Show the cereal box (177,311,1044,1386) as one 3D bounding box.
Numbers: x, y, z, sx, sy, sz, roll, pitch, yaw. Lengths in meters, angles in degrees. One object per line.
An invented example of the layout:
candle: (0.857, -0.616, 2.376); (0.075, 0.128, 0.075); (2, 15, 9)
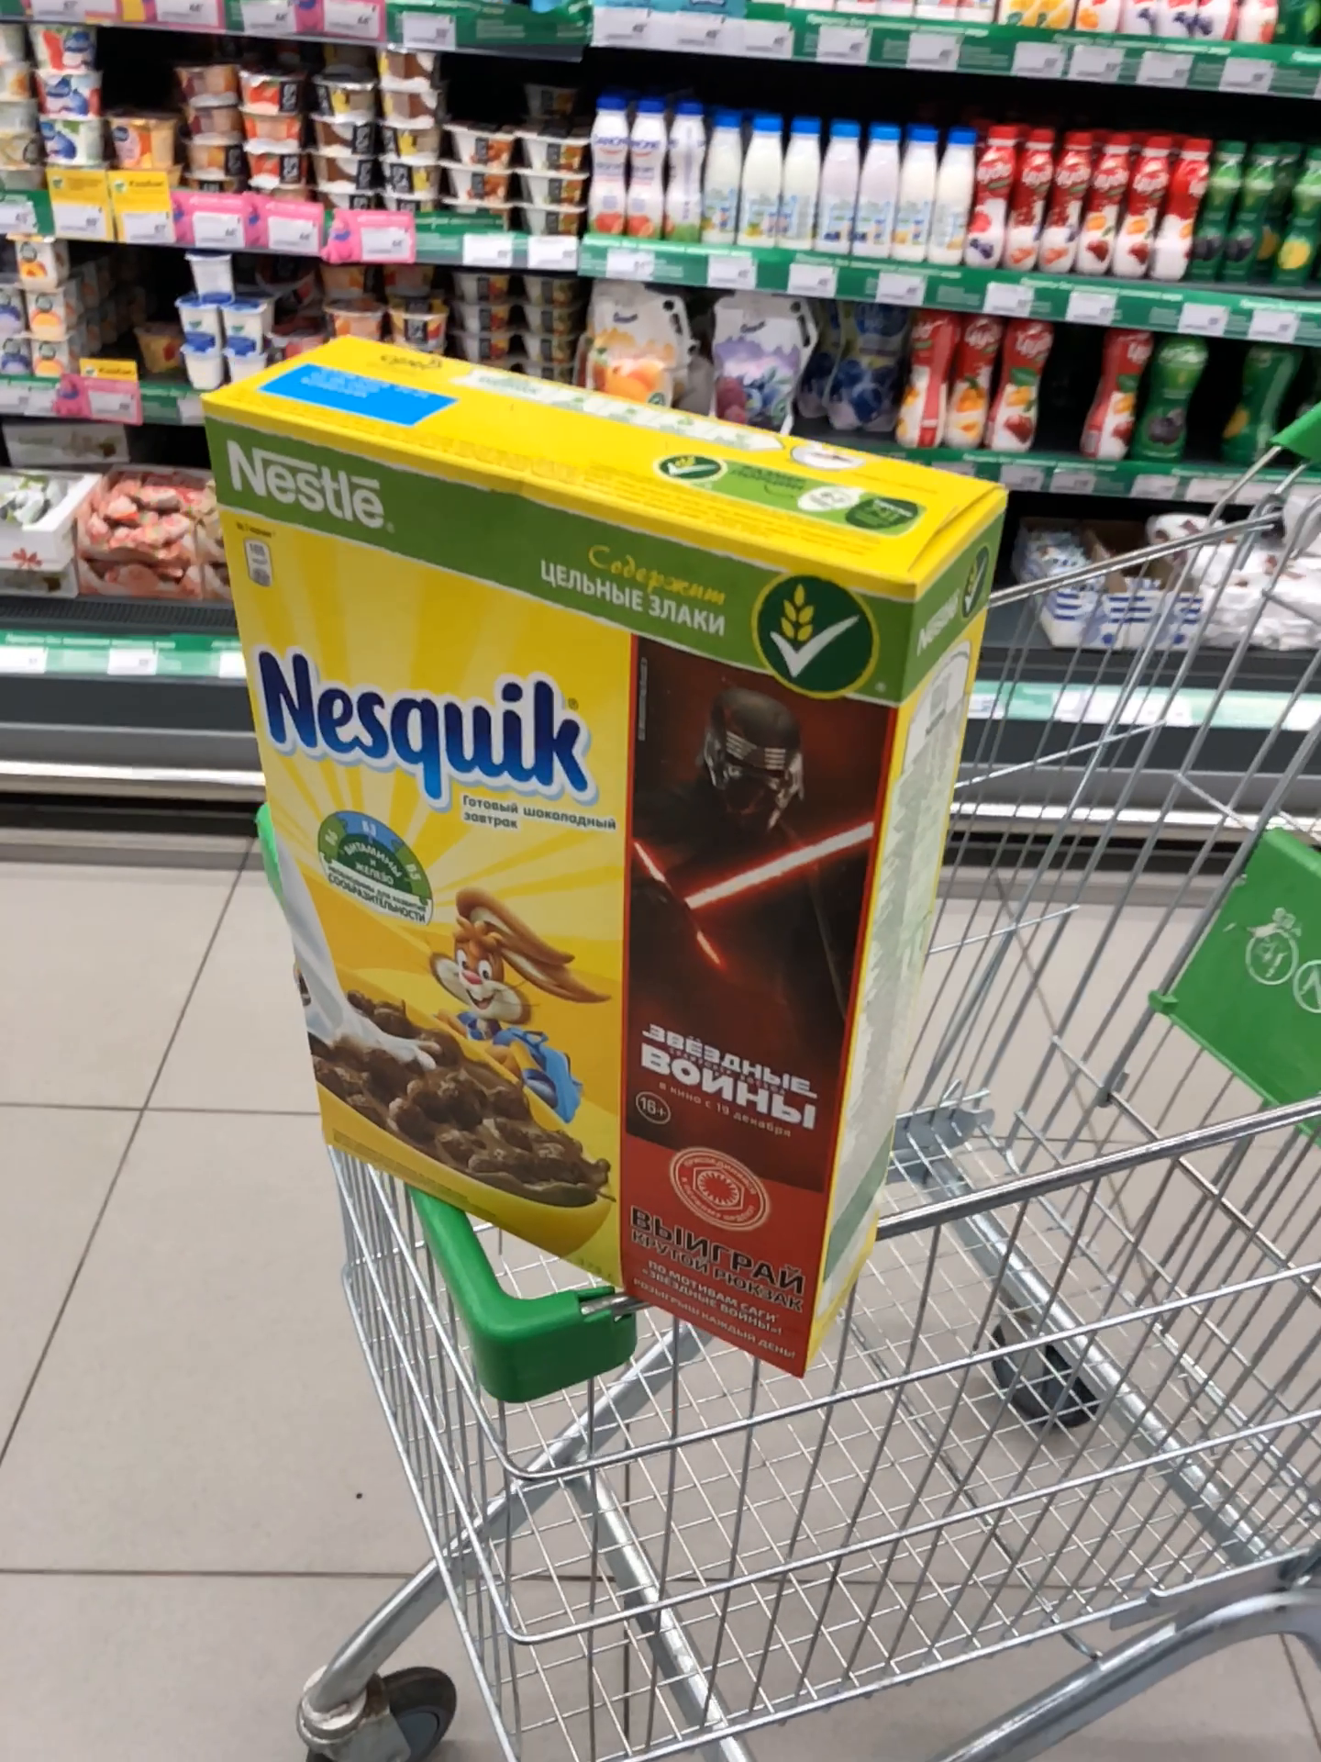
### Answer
cereal box: (-0.020, -0.003, 0.427); (0.200, 0.268, 0.070); (20, 41, 23)
